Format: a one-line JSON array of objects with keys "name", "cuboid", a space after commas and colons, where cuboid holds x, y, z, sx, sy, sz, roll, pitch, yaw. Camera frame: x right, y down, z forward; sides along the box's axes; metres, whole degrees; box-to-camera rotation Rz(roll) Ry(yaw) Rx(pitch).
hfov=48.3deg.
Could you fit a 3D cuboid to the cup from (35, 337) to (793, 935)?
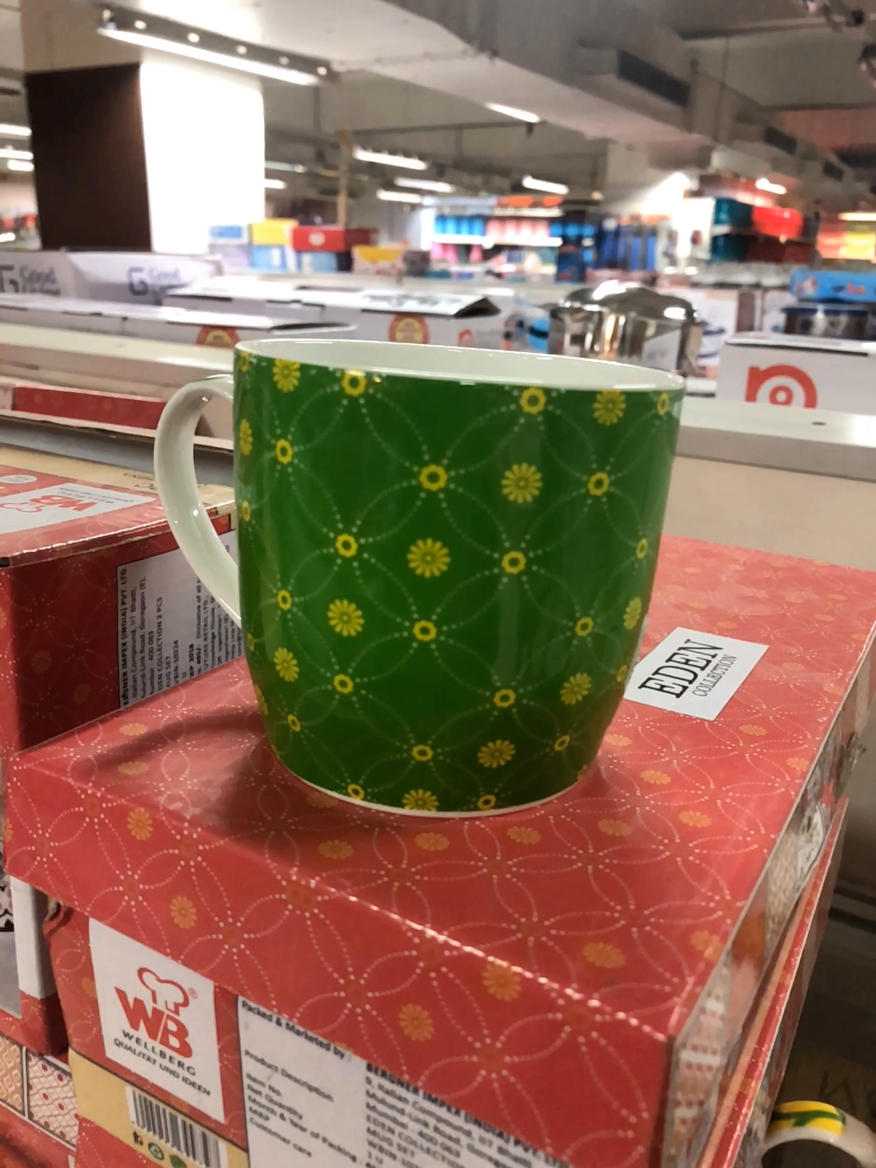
[{"name": "cup", "cuboid": [-0.003, -0.006, 0.203, 0.120, 0.080, 0.090, 12, 19, 28]}]
